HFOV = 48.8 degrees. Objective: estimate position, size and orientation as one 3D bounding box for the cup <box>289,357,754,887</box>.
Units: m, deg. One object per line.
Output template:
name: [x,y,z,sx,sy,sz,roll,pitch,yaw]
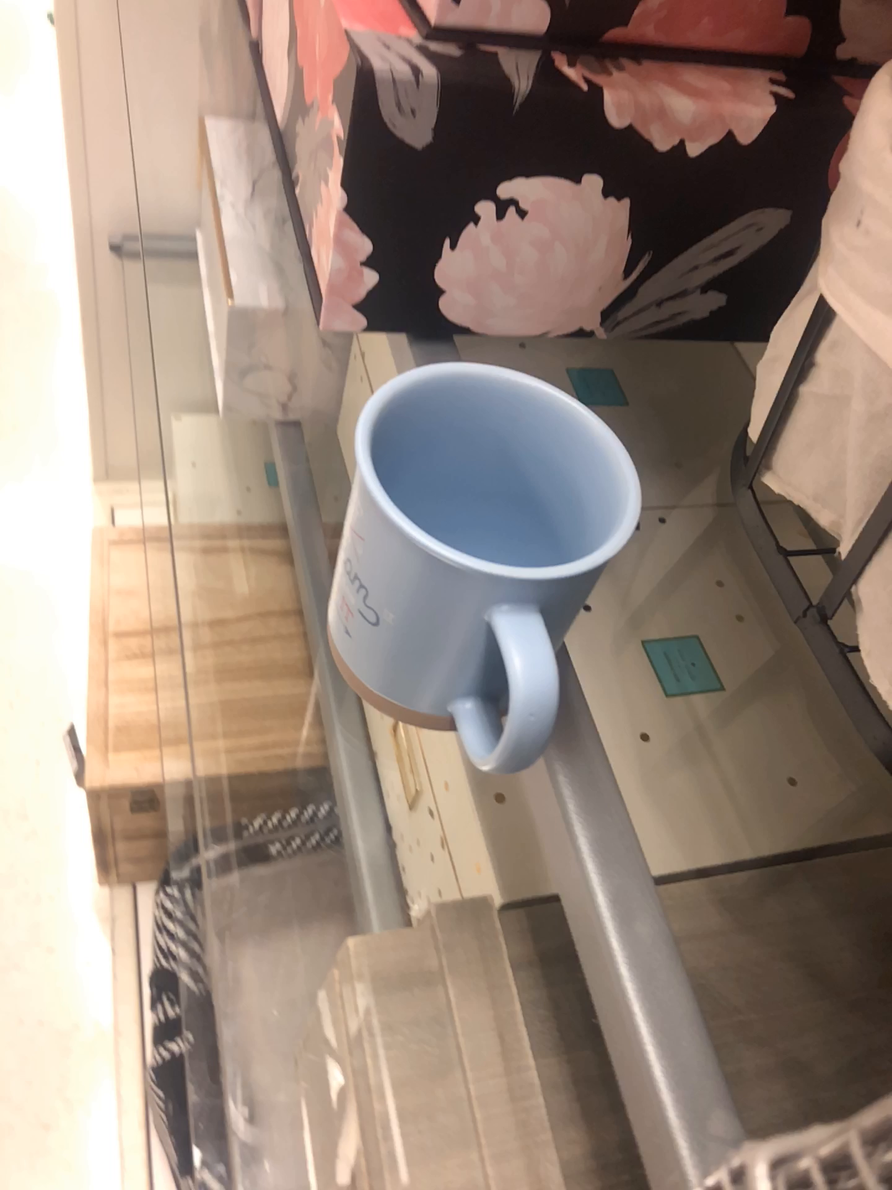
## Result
cup: [0.011,0.005,0.333,0.100,0.100,0.139,-4,53,-18]
